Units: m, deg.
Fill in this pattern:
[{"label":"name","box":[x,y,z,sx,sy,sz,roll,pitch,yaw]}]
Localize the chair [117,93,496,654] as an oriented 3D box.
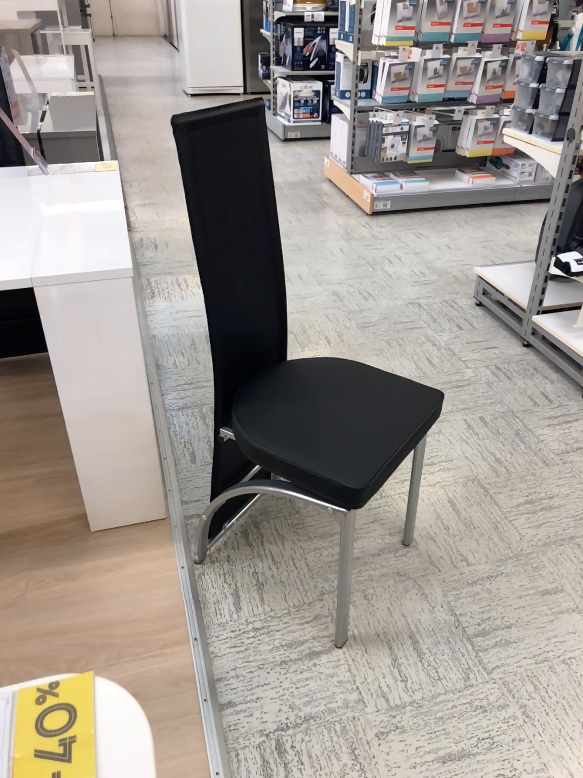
[{"label":"chair","box":[0.038,-0.034,1.371,0.490,1.014,0.453,19,37,27]}]
